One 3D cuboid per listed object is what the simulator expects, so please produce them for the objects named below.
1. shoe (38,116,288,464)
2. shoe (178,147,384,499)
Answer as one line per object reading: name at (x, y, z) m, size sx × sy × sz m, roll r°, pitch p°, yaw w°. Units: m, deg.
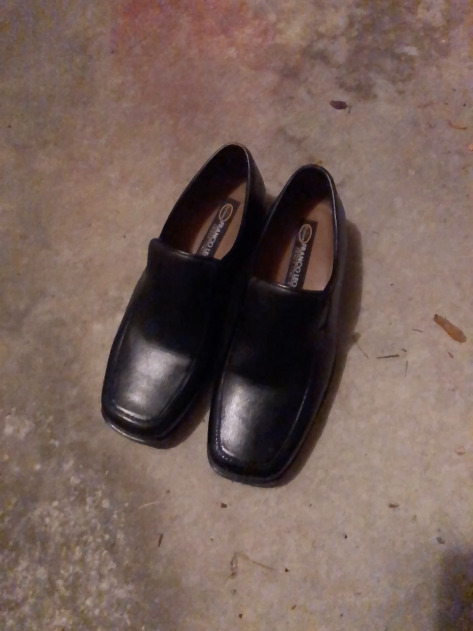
shoe at (-0.048, -0.024, 0.474) m, size 0.101 × 0.113 × 0.279 m, roll 18°, pitch 71°, yaw 10°
shoe at (0.045, 0.006, 0.455) m, size 0.104 × 0.113 × 0.269 m, roll 12°, pitch 70°, yaw 8°
